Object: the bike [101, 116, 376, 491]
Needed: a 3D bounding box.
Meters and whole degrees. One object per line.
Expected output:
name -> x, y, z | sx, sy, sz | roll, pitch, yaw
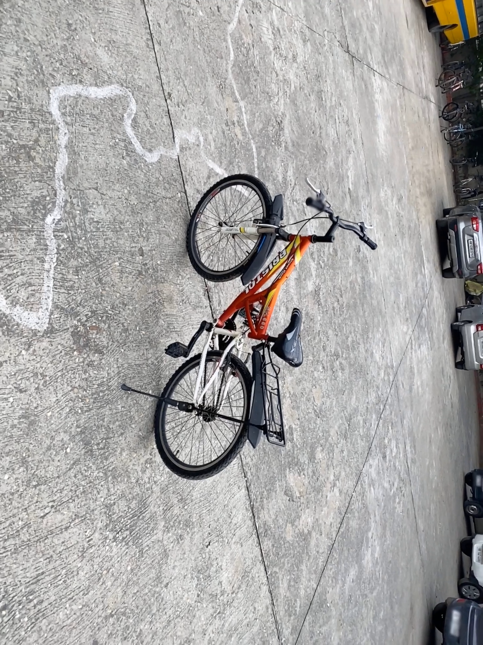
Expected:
bike -> 0.059, -0.052, 2.290 | 0.587, 0.977, 1.512 | 36, 54, -55
